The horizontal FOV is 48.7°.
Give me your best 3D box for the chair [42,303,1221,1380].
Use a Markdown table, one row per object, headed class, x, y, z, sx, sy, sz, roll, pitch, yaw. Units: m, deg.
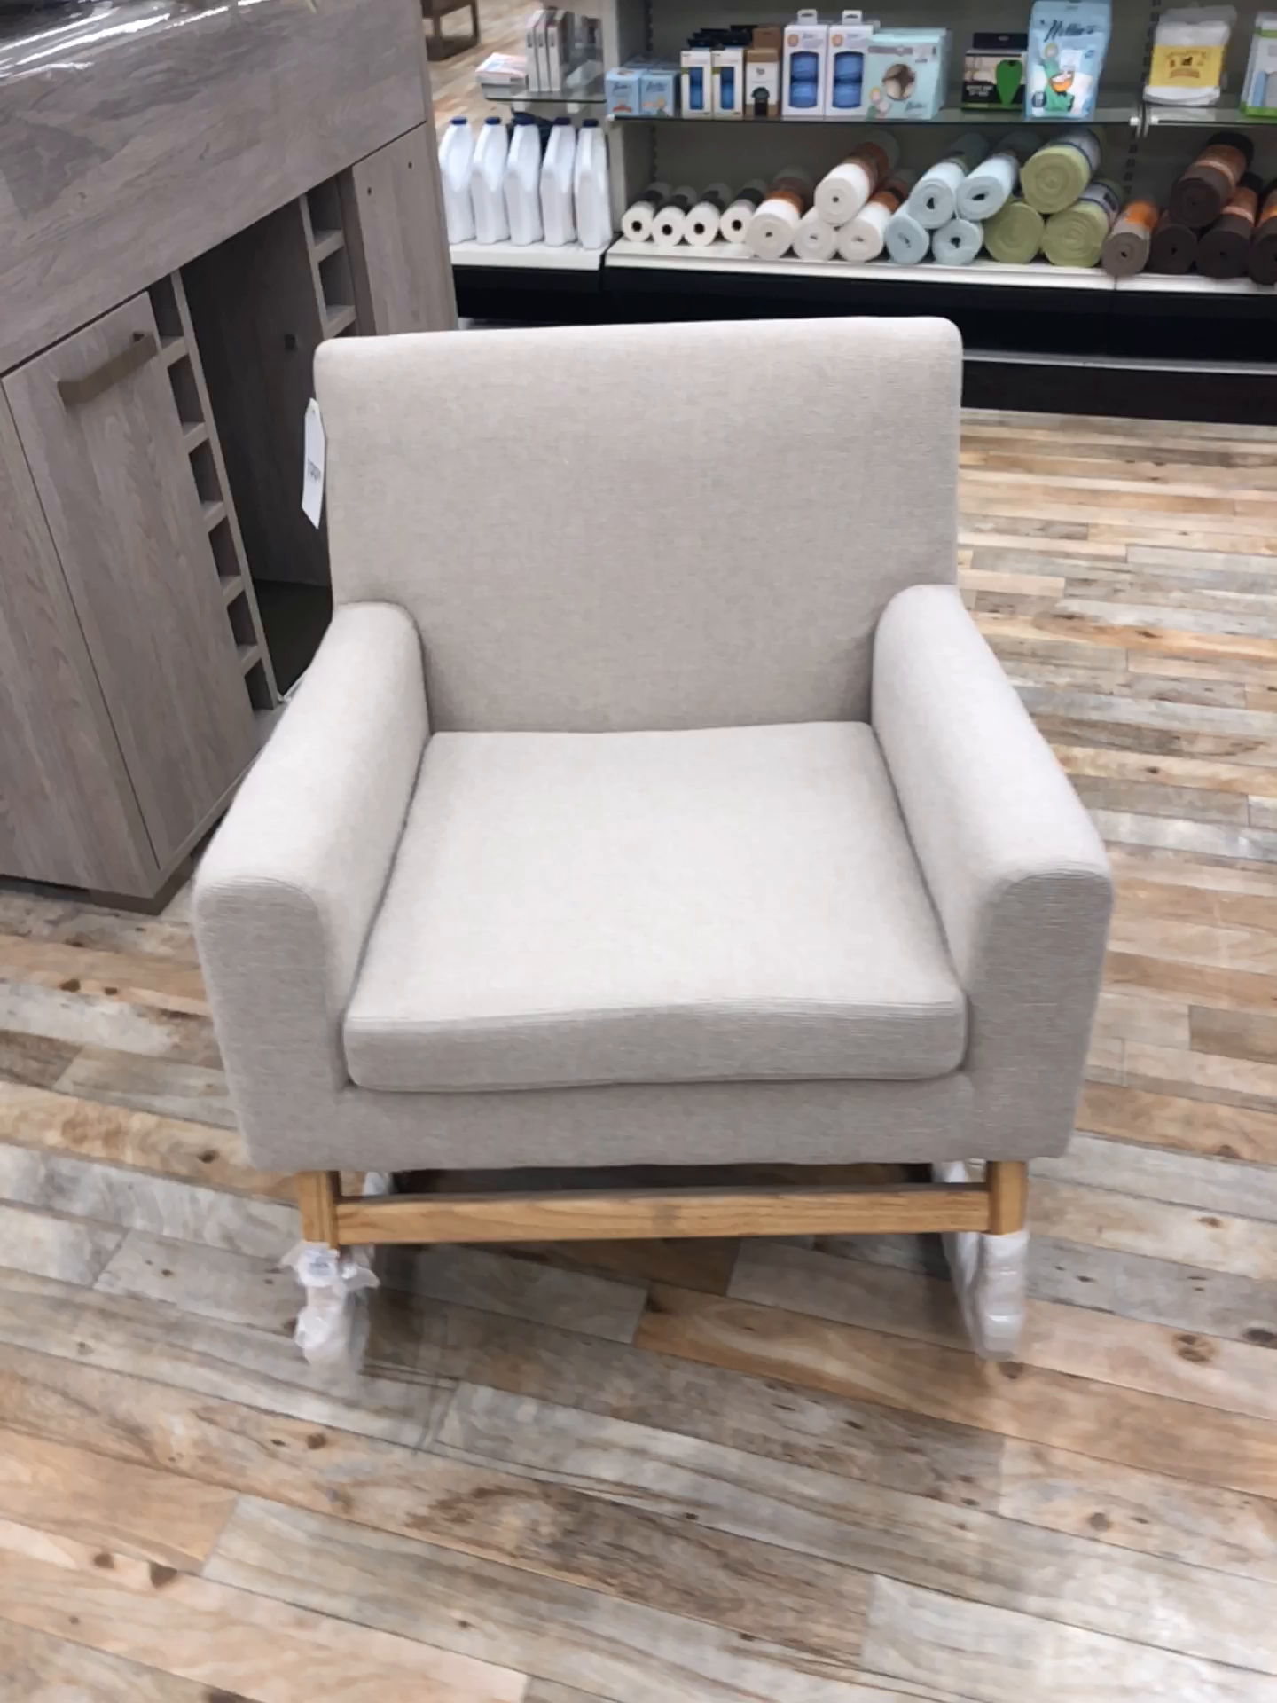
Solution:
| class | x | y | z | sx | sy | sz | roll | pitch | yaw |
| --- | --- | --- | --- | --- | --- | --- | --- | --- | --- |
| chair | 0.013 | -0.033 | 1.346 | 0.700 | 0.707 | 0.743 | -1 | 38 | 3 |
